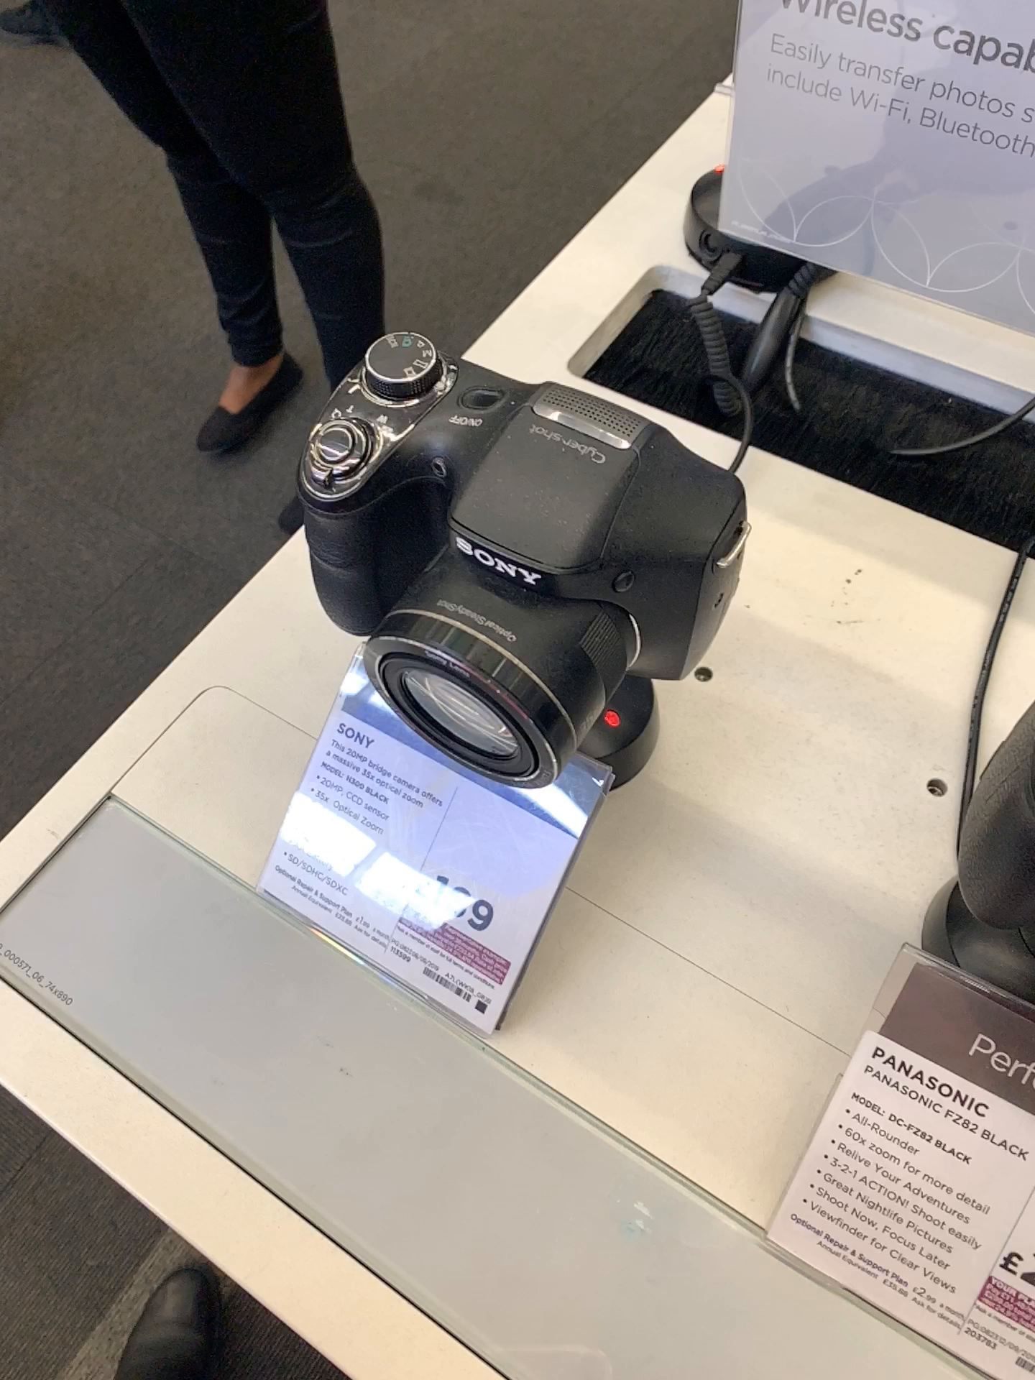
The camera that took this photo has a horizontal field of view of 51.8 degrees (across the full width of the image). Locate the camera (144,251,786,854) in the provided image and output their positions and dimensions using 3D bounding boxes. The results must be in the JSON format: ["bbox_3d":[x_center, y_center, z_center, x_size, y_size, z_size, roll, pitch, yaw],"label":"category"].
[{"bbox_3d":[-0.011,-0.040,0.299,0.130,0.089,0.090,28,64,20],"label":"camera"}]
